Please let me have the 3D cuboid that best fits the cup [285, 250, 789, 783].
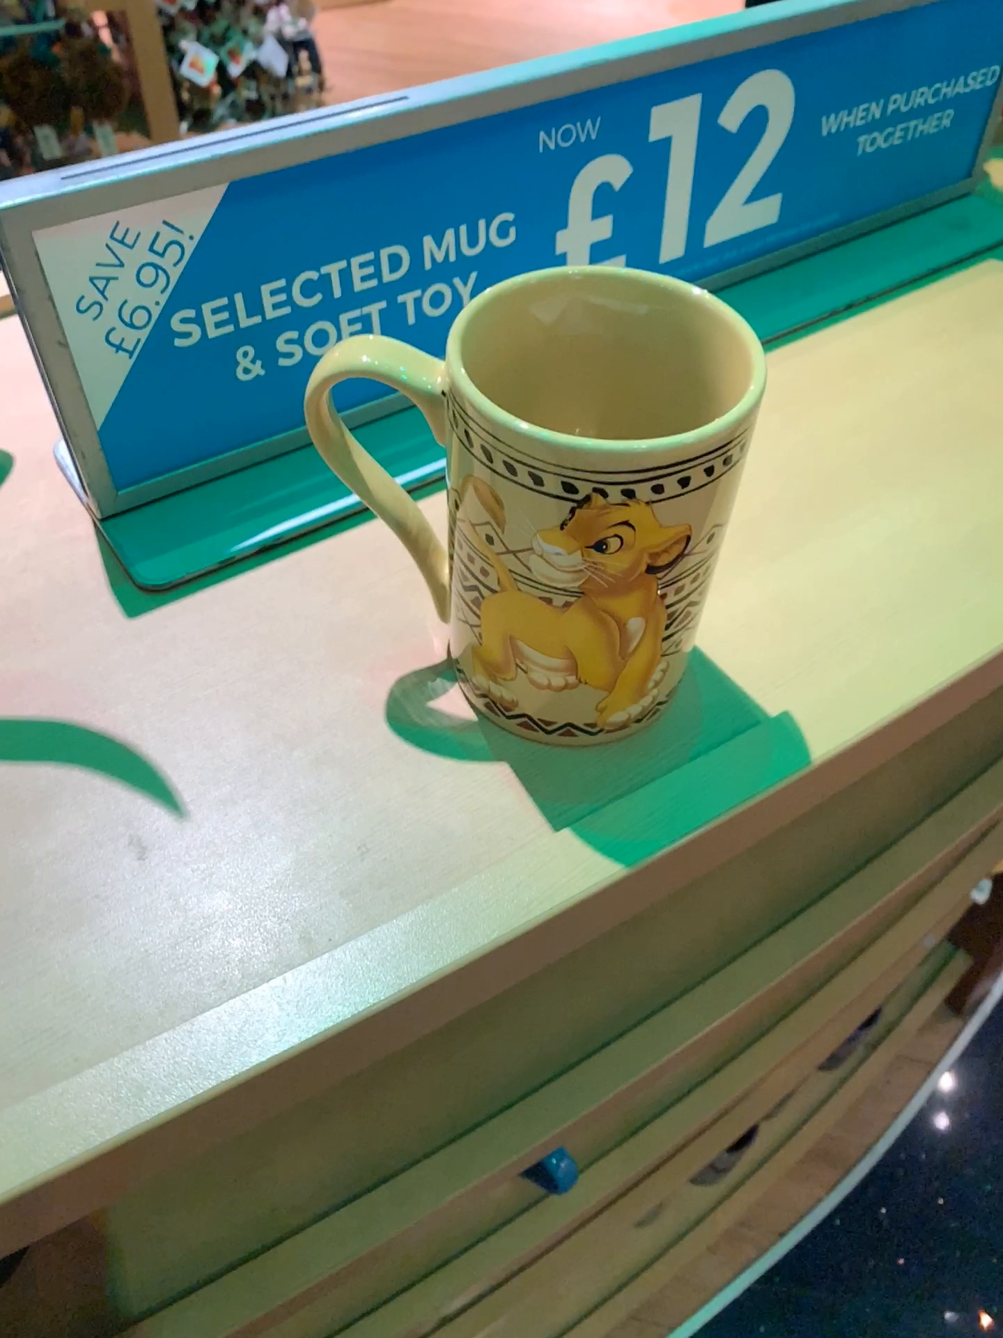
[{"bbox_3d":[0.009,-0.046,0.322,0.119,0.121,0.101,3,46,1],"label":"cup"}]
